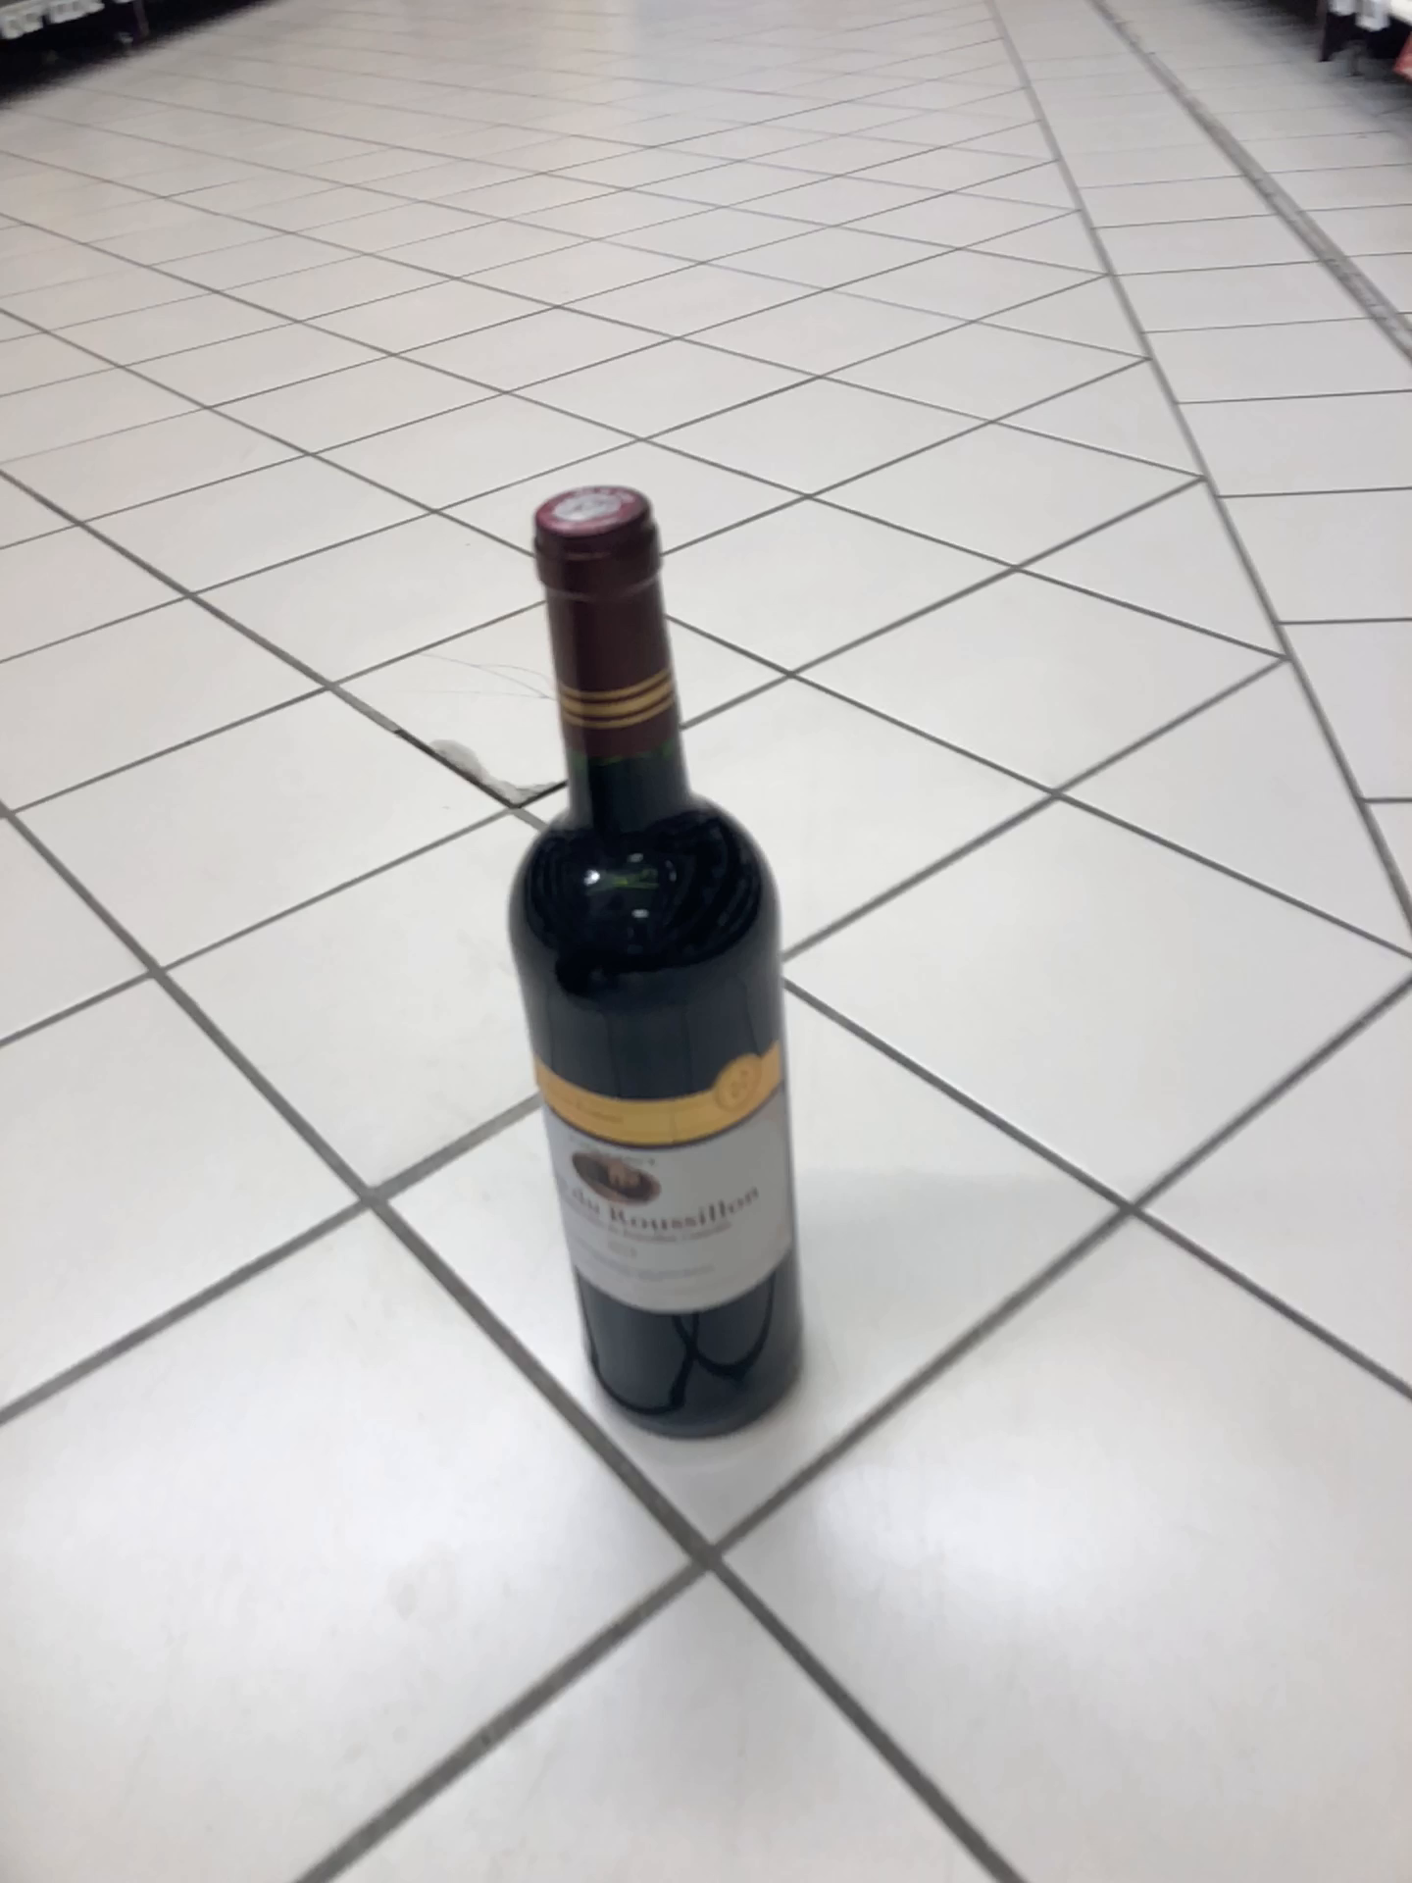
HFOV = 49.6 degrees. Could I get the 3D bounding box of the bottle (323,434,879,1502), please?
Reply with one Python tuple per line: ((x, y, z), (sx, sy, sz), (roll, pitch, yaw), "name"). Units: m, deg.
((-0.012, 0.020, 0.432), (0.090, 0.288, 0.091), (-3, 36, 3), "bottle")
